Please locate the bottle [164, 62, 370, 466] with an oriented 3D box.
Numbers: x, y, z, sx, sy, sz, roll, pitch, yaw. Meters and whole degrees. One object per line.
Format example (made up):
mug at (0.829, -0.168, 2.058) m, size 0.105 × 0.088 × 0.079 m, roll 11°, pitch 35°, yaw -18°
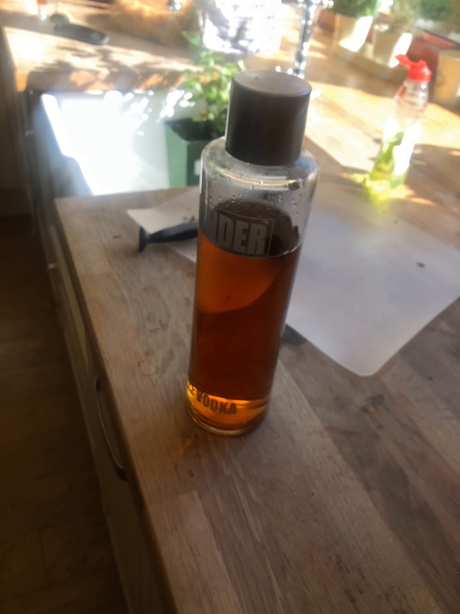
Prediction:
bottle at (0.006, -0.012, 0.365) m, size 0.080 × 0.278 × 0.081 m, roll 5°, pitch 38°, yaw -4°
